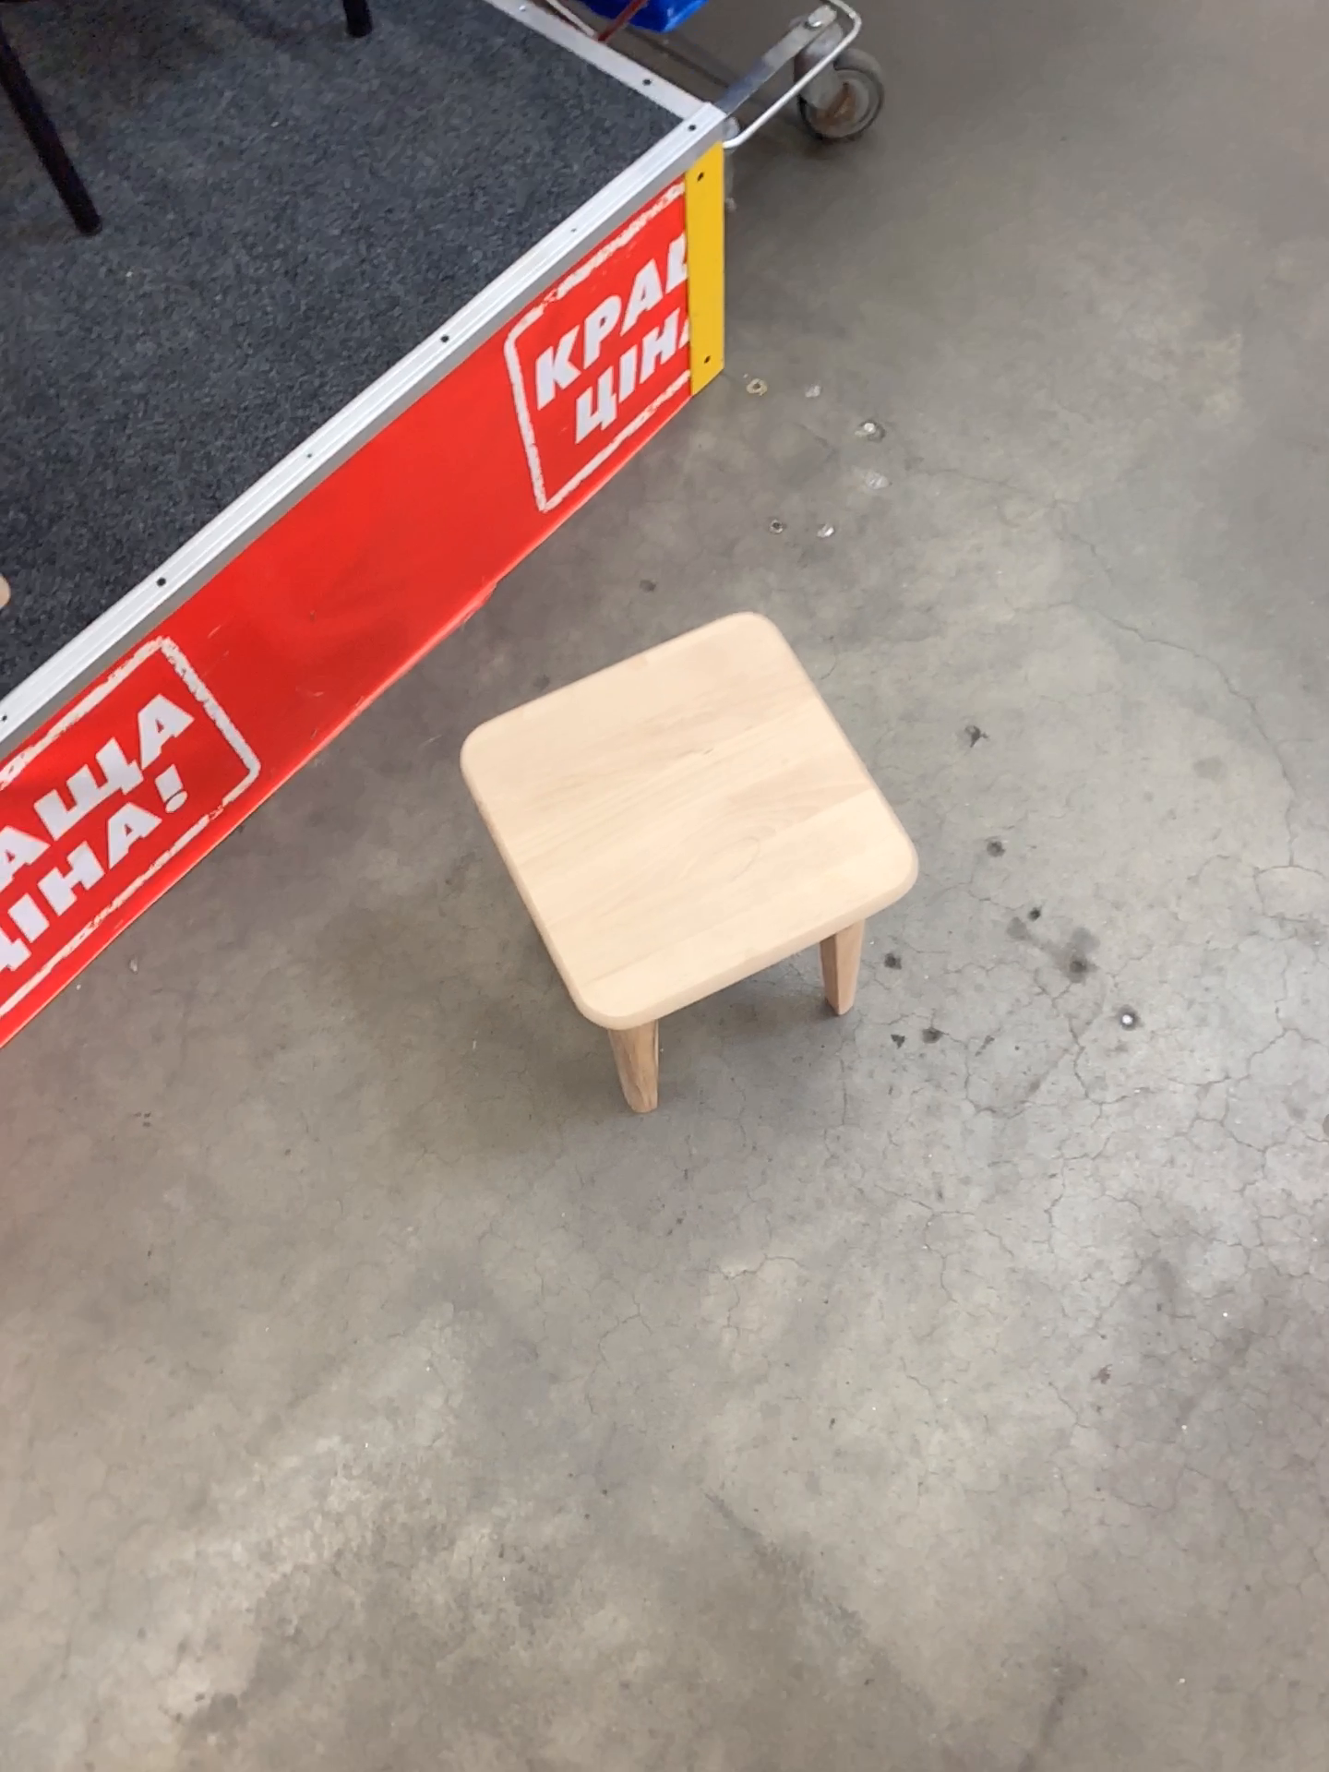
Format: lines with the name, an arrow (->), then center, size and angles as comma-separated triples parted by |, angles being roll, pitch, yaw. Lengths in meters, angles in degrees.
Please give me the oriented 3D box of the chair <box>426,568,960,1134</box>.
chair -> 0.018, -0.013, 0.988 | 0.260, 0.260, 0.250 | -25, 69, -7
